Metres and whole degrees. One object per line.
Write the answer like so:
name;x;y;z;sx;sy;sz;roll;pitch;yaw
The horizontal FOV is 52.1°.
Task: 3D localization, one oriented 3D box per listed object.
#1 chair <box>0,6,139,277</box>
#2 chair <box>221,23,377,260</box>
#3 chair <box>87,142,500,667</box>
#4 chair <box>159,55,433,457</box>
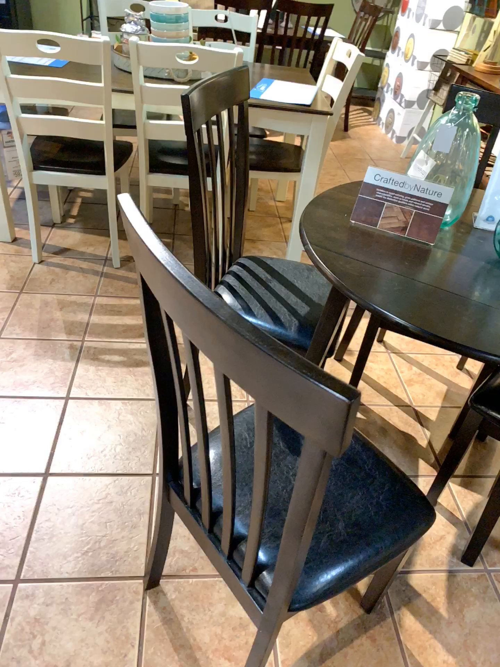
chair;-0.701;-0.773;2.116;0.404;0.893;0.544;3;38;-7
chair;0.183;-0.855;2.346;0.521;0.883;0.406;7;37;-1
chair;0.107;0.226;0.919;0.562;0.923;0.456;-21;46;-32
chair;0.079;-0.179;1.422;0.541;0.933;0.386;15;38;8
